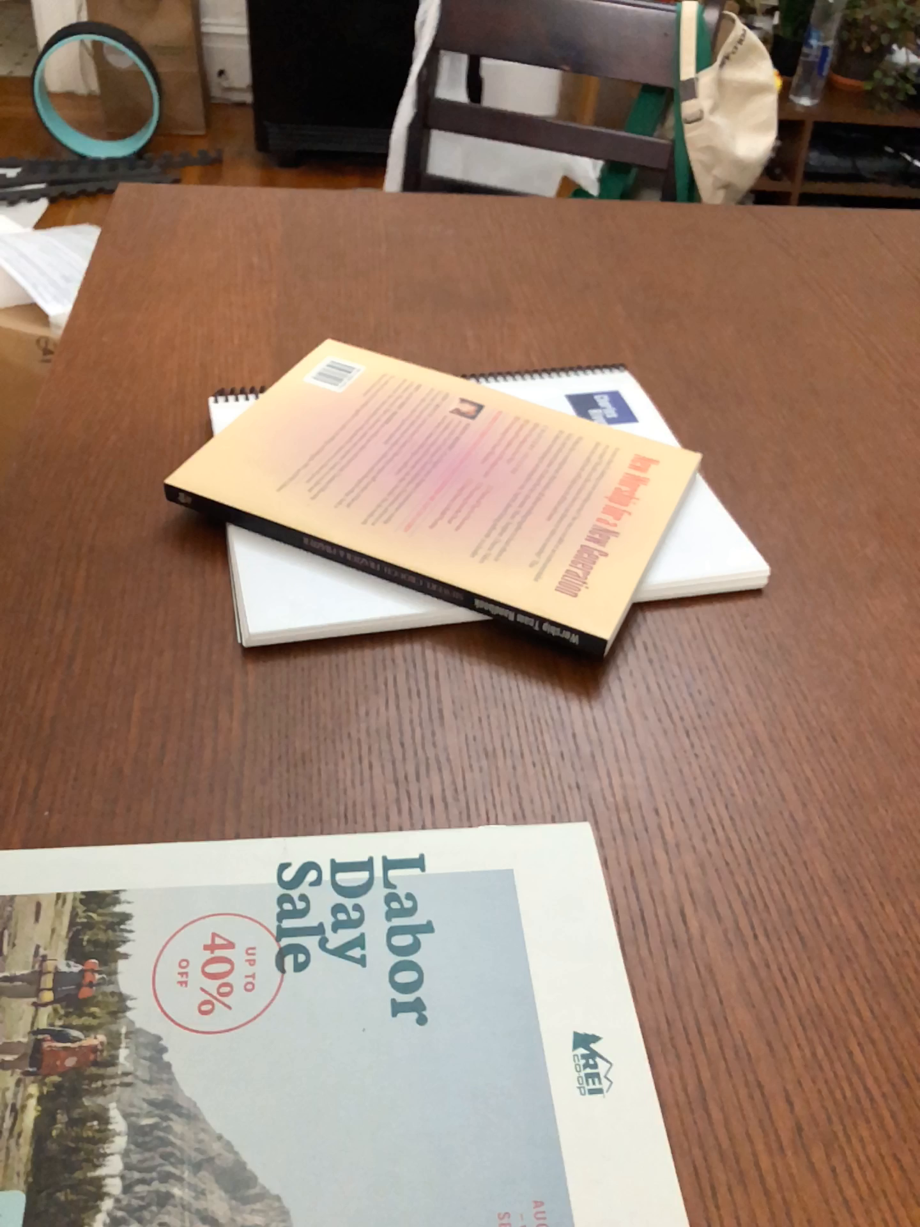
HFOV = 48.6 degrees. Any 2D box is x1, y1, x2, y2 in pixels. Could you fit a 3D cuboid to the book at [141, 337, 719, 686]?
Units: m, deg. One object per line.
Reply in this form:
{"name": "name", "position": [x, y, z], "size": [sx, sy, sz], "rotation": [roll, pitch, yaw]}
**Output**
{"name": "book", "position": [-0.008, -0.073, 0.565], "size": [0.260, 0.020, 0.191], "rotation": [20, 44, 15]}

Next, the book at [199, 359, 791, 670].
{"name": "book", "position": [0.006, -0.074, 0.594], "size": [0.290, 0.020, 0.231], "rotation": [-7, 43, -14]}

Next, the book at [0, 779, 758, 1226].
{"name": "book", "position": [-0.065, 0.143, 0.333], "size": [0.270, 0.010, 0.201], "rotation": [-1, 42, -8]}
